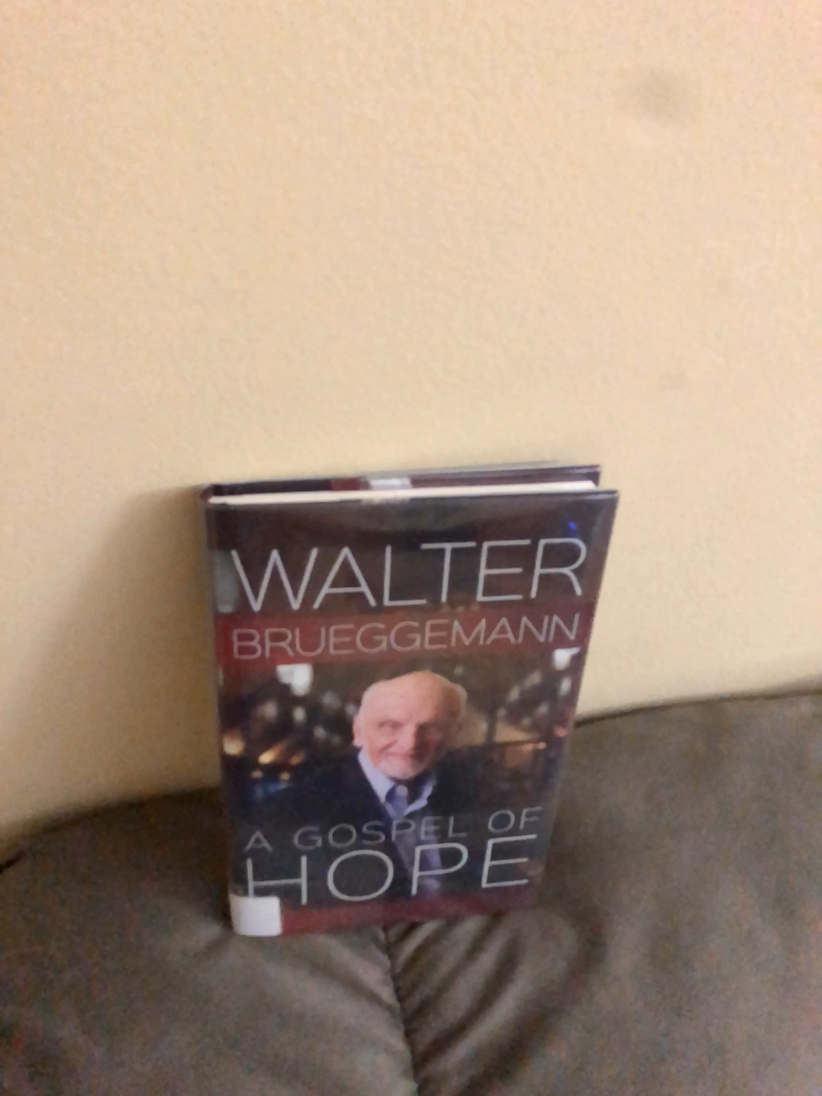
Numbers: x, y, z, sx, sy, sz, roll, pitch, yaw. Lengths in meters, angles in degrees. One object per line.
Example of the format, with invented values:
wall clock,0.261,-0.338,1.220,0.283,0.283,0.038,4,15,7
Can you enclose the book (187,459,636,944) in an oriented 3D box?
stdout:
book,-0.003,0.068,0.345,0.140,0.210,0.027,-1,30,-5
